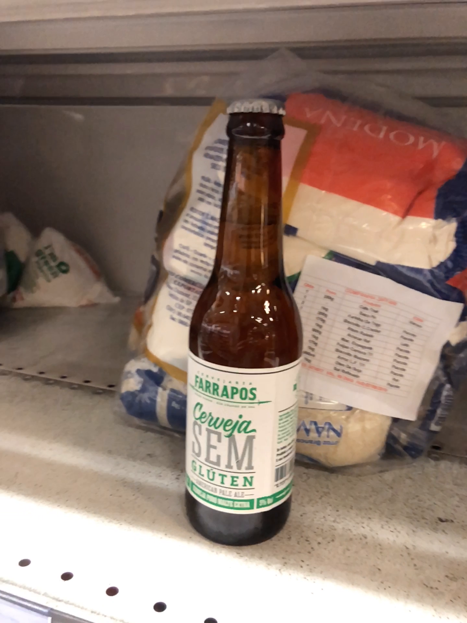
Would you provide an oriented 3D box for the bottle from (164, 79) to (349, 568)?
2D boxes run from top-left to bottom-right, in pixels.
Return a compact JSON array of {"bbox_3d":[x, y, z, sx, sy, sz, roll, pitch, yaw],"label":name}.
[{"bbox_3d":[0.009,0.007,0.272,0.070,0.229,0.060,8,17,19],"label":"bottle"}]
